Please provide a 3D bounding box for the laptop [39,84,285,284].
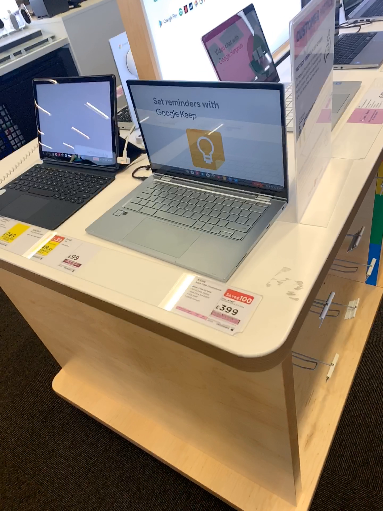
[{"bbox_3d":[-0.040,-0.139,0.647,0.318,0.195,0.204,18,51,34],"label":"laptop"}]
